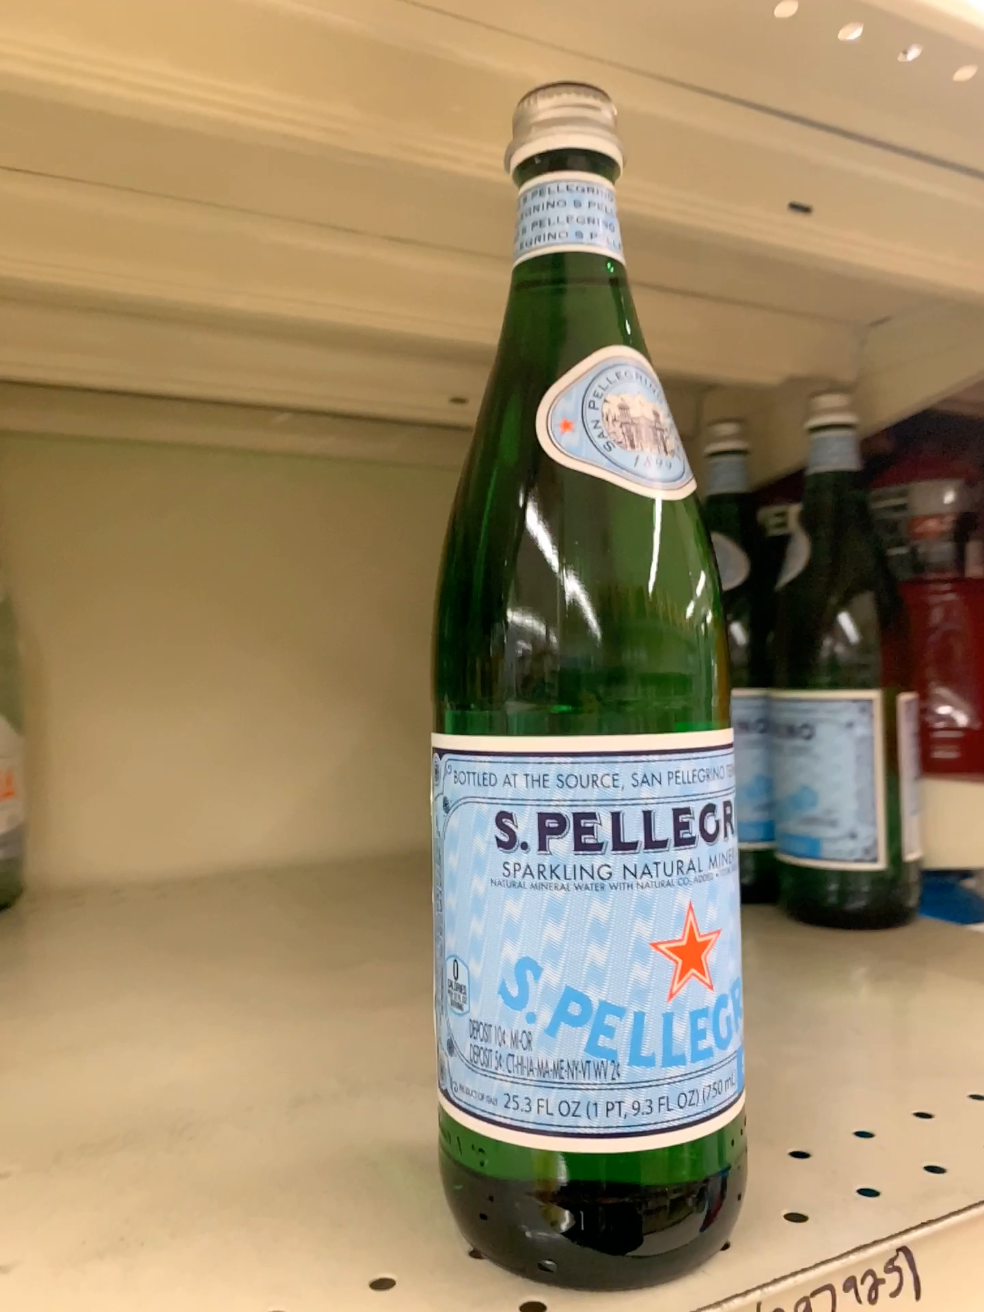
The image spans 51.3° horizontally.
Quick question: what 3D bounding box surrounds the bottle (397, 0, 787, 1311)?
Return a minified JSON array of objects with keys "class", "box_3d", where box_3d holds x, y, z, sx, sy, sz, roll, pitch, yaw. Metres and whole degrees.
[{"class":"bottle","box_3d":[0.023,-0.003,0.265,0.078,0.302,0.065,0,0,-20]}]
